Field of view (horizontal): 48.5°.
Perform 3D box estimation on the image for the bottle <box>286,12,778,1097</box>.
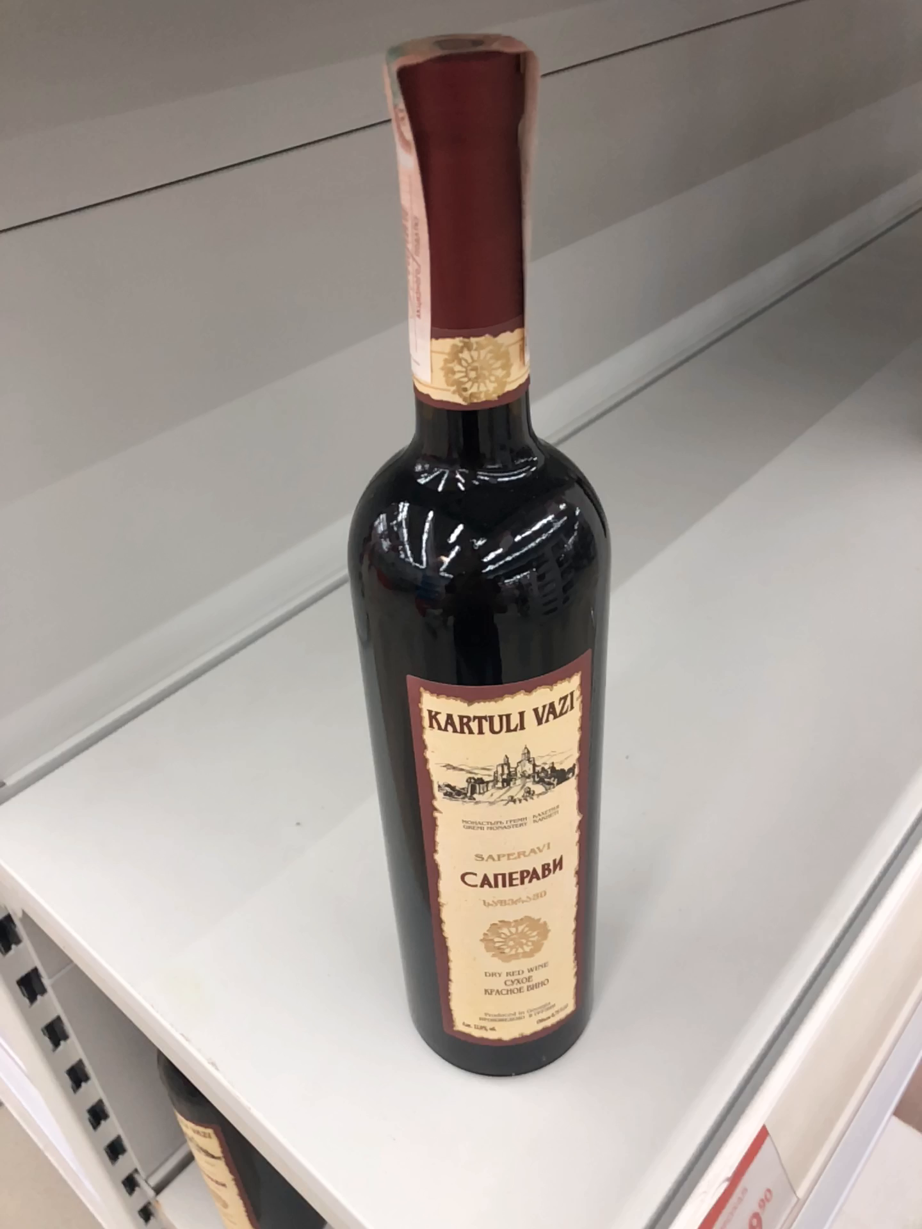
[{"bbox_3d":[0.015,0.014,0.279,0.079,0.299,0.069,-7,37,-5],"label":"bottle"}]
